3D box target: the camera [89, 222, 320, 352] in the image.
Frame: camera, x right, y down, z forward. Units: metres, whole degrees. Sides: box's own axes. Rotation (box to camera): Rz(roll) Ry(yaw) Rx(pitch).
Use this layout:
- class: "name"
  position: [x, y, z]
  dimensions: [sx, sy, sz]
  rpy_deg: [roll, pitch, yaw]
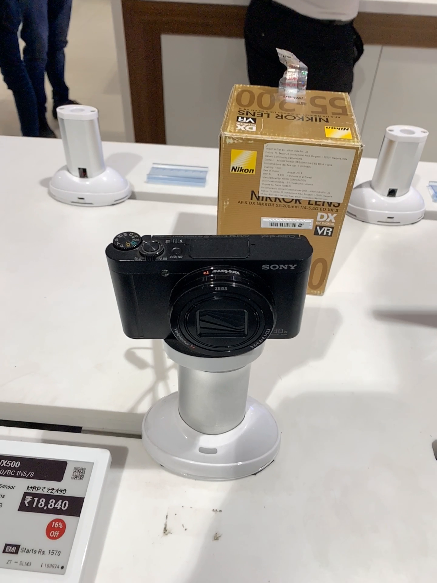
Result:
- class: "camera"
  position: [-0.007, -0.001, 0.227]
  dimensions: [0.100, 0.060, 0.030]
  rpy_deg: [1, 43, -1]
